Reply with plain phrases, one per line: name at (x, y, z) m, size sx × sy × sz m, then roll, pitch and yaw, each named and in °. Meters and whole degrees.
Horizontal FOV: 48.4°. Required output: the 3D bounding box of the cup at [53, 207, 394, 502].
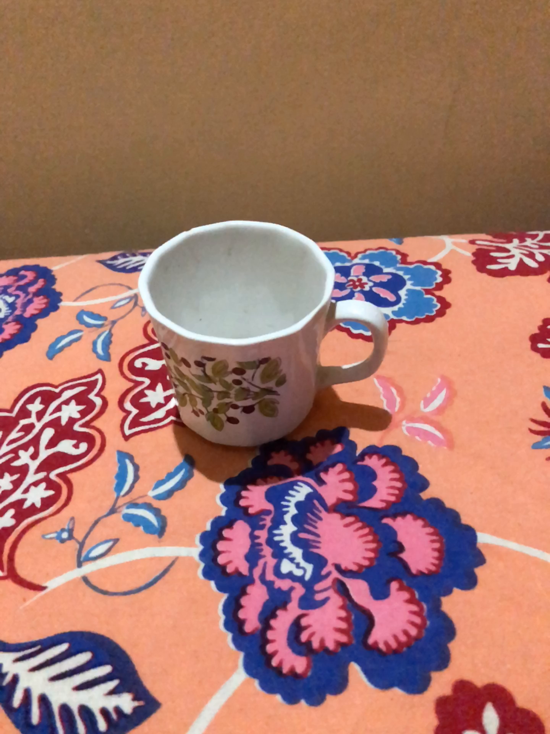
cup at (-0.010, -0.006, 0.210) m, size 0.090 × 0.070 × 0.060 m, roll 7°, pitch 47°, yaw 13°
